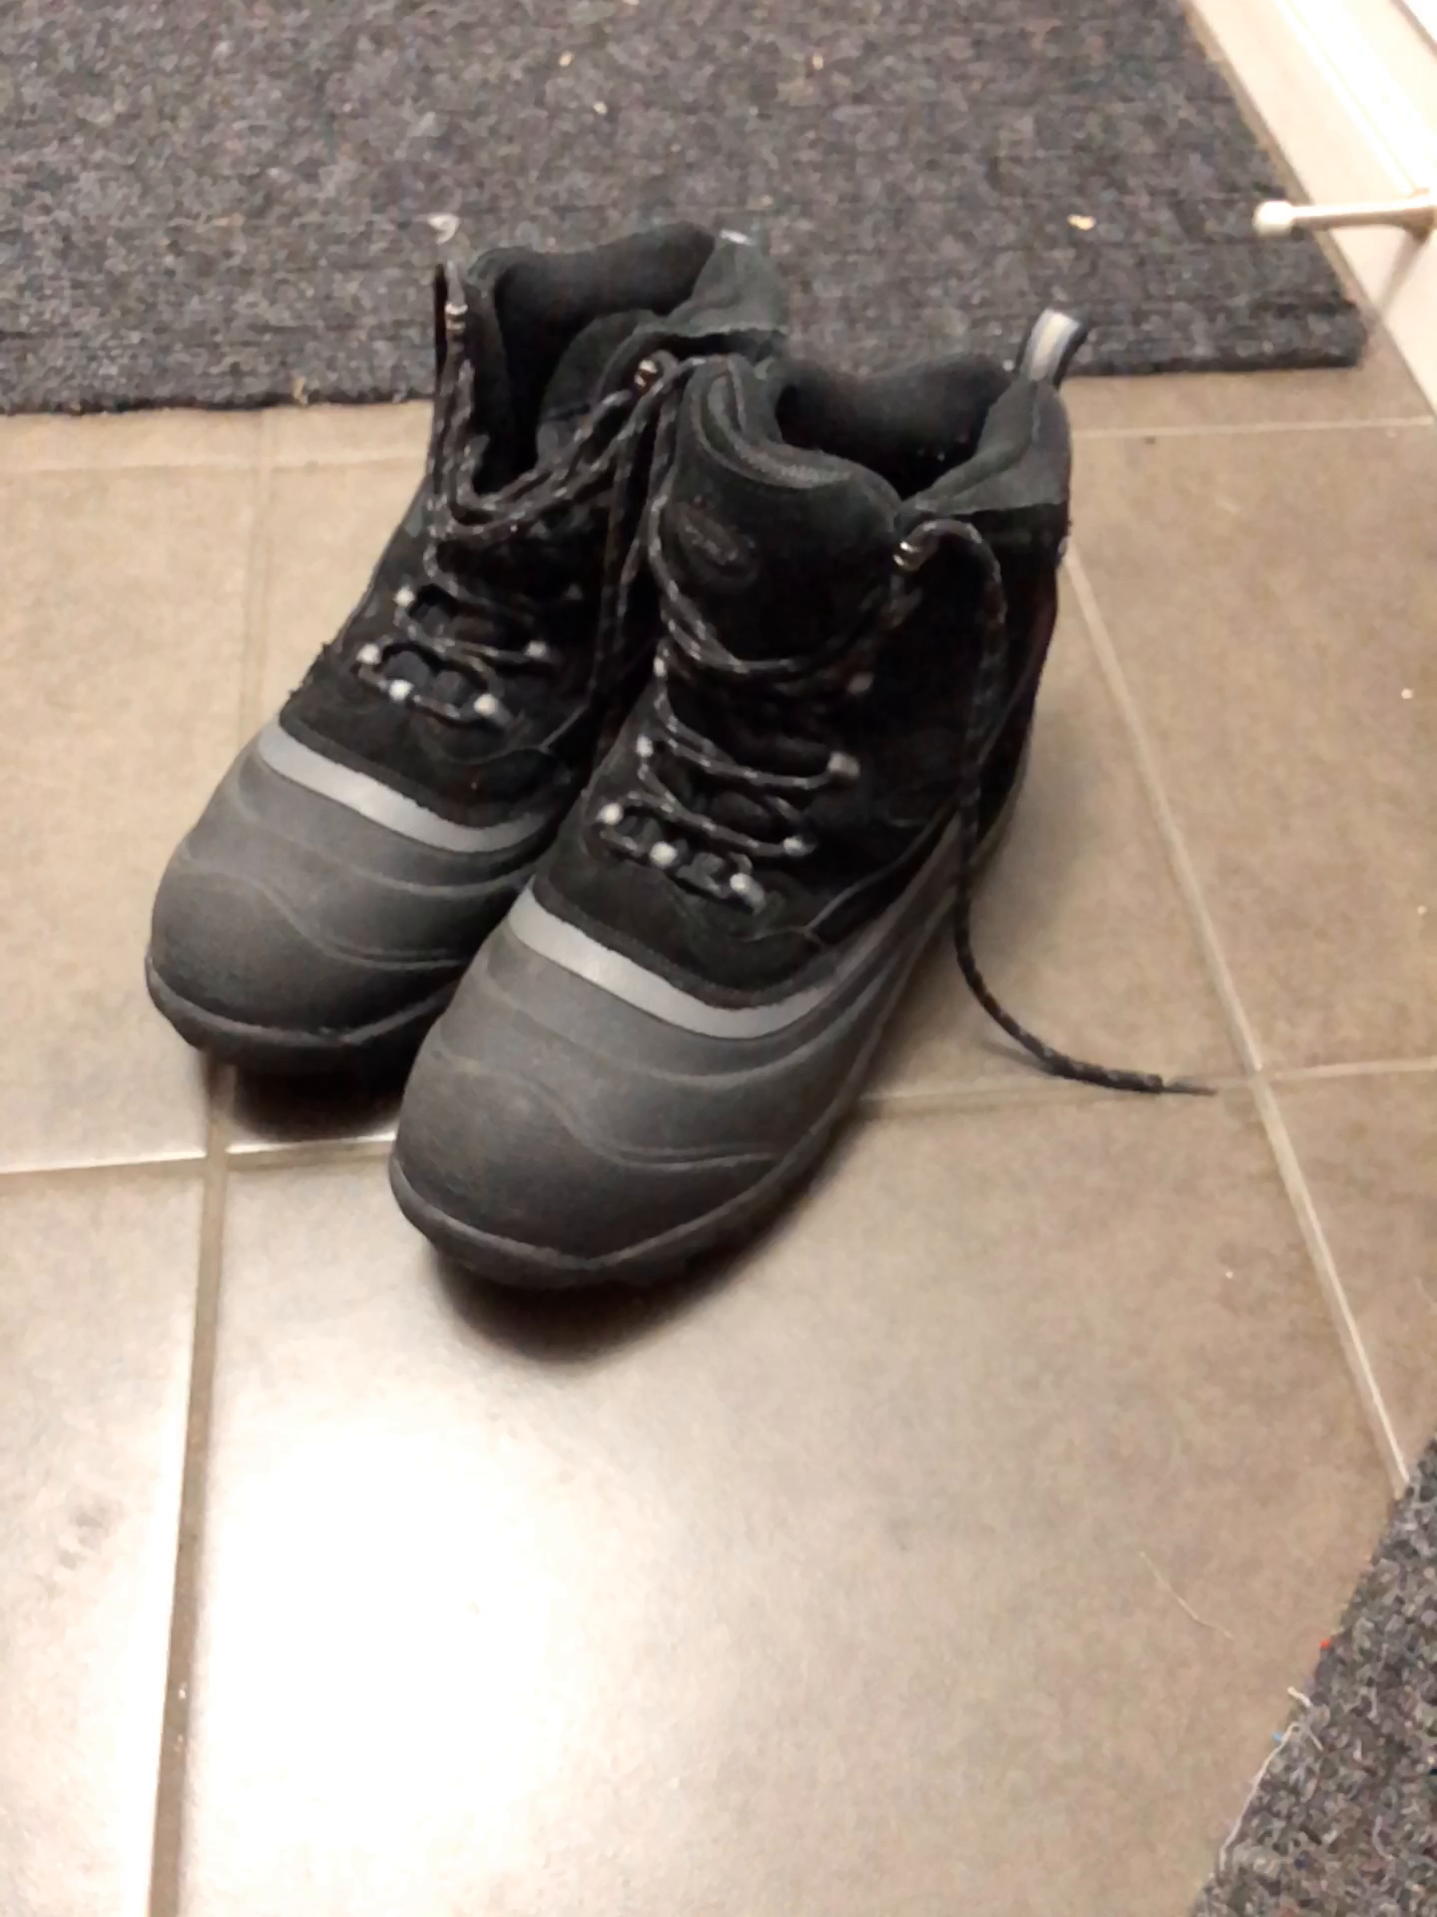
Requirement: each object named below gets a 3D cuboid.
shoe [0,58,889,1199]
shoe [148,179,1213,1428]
[{"bbox_3d":[-0.082,-0.108,0.509,0.120,0.200,0.290,29,58,17],"label":"shoe"},{"bbox_3d":[0.006,-0.049,0.469,0.120,0.200,0.290,28,58,16],"label":"shoe"}]
